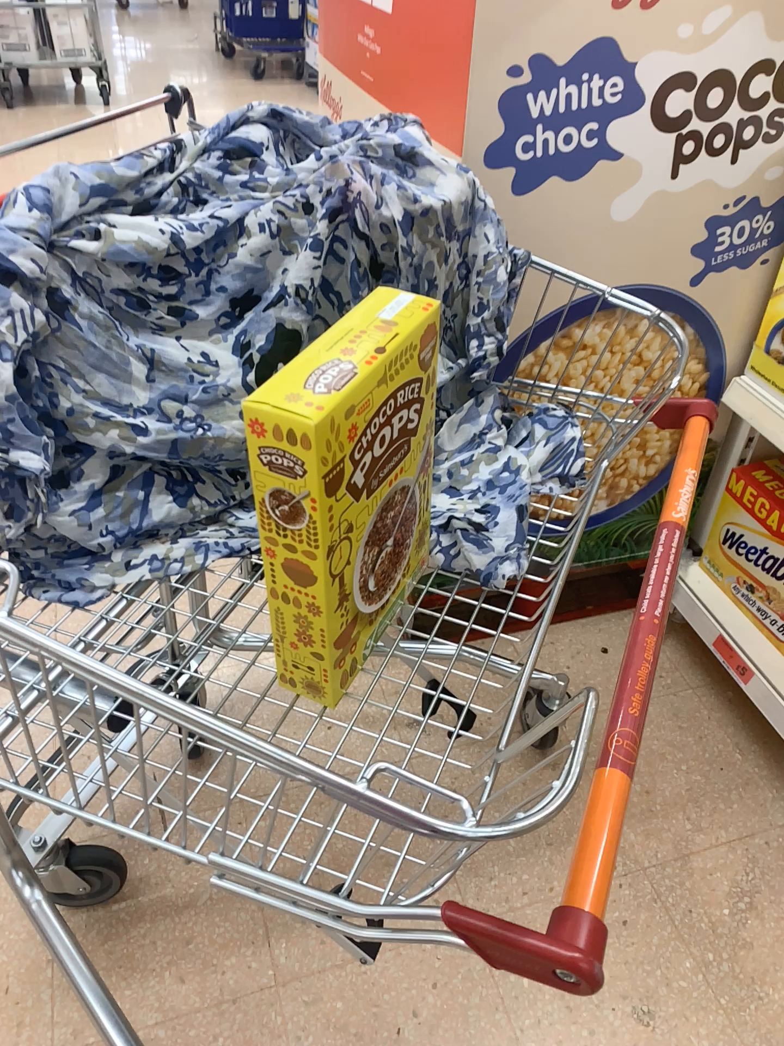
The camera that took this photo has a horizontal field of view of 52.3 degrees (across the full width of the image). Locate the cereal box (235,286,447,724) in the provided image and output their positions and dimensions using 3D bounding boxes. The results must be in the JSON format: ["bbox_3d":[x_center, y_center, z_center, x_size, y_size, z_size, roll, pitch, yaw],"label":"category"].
[{"bbox_3d":[-0.026,-0.015,0.621,0.060,0.267,0.202,15,39,19],"label":"cereal box"}]
